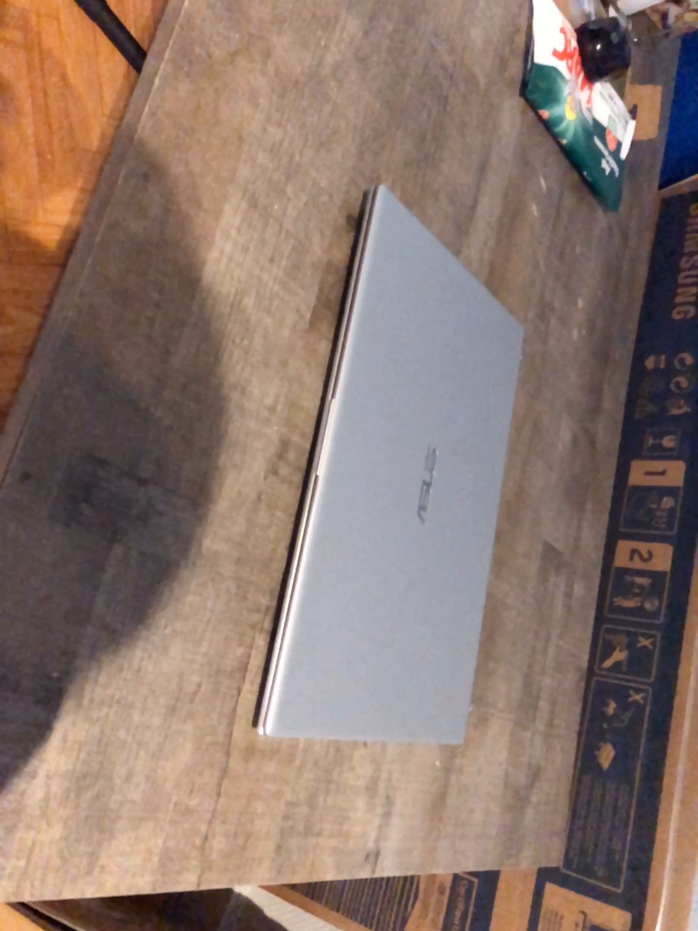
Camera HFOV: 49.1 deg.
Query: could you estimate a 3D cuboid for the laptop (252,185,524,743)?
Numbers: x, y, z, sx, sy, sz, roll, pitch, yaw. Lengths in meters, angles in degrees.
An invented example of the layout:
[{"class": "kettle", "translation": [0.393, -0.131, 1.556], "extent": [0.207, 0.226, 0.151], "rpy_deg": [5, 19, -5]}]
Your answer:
[{"class": "laptop", "translation": [0.050, 0.016, 0.559], "extent": [0.229, 0.013, 0.353], "rpy_deg": [25, 71, -49]}]
